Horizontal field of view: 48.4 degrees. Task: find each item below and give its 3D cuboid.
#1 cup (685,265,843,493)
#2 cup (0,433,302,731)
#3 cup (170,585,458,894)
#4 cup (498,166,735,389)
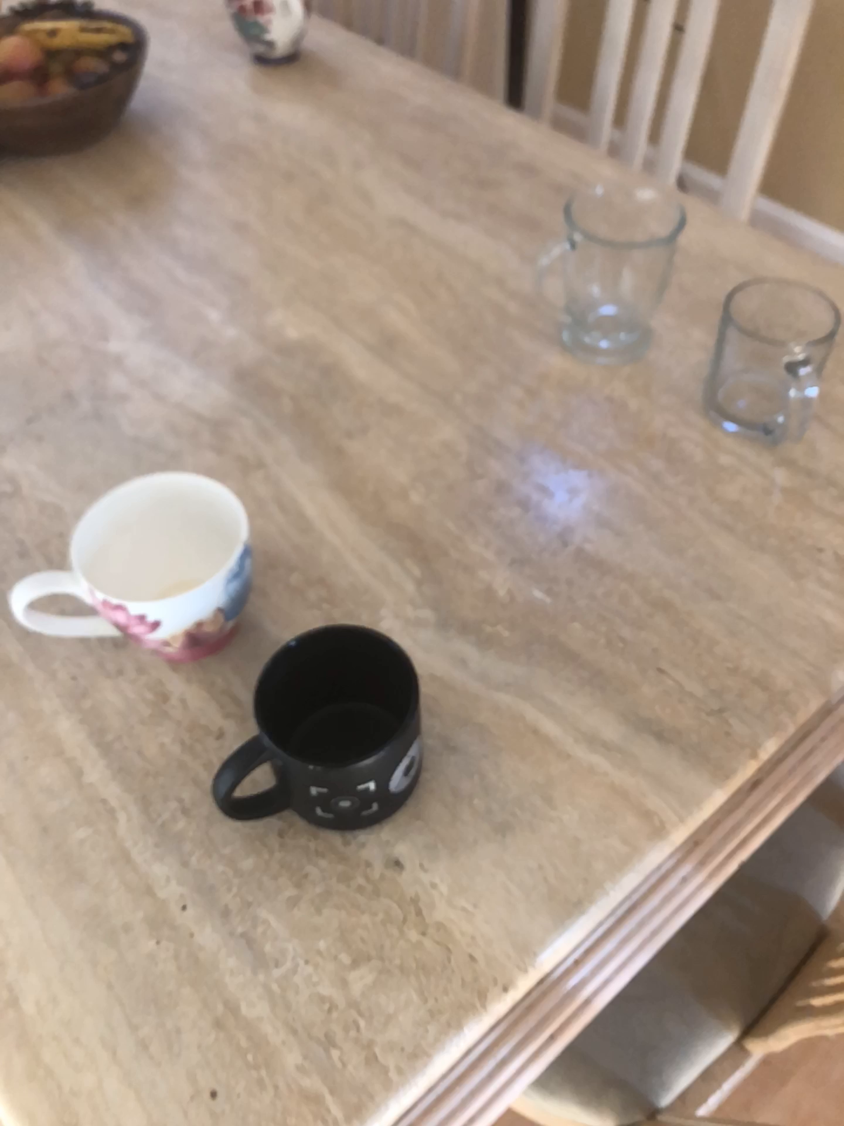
[{"bbox_3d":[0.289,-0.148,0.751,0.090,0.109,0.131,-11,51,-7],"label":"cup"},{"bbox_3d":[-0.180,0.010,0.602,0.170,0.099,0.101,-20,53,-14],"label":"cup"},{"bbox_3d":[-0.058,0.103,0.550,0.130,0.109,0.090,-24,53,-17],"label":"cup"},{"bbox_3d":[0.158,-0.243,0.797,0.150,0.109,0.111,-19,52,-13],"label":"cup"}]
